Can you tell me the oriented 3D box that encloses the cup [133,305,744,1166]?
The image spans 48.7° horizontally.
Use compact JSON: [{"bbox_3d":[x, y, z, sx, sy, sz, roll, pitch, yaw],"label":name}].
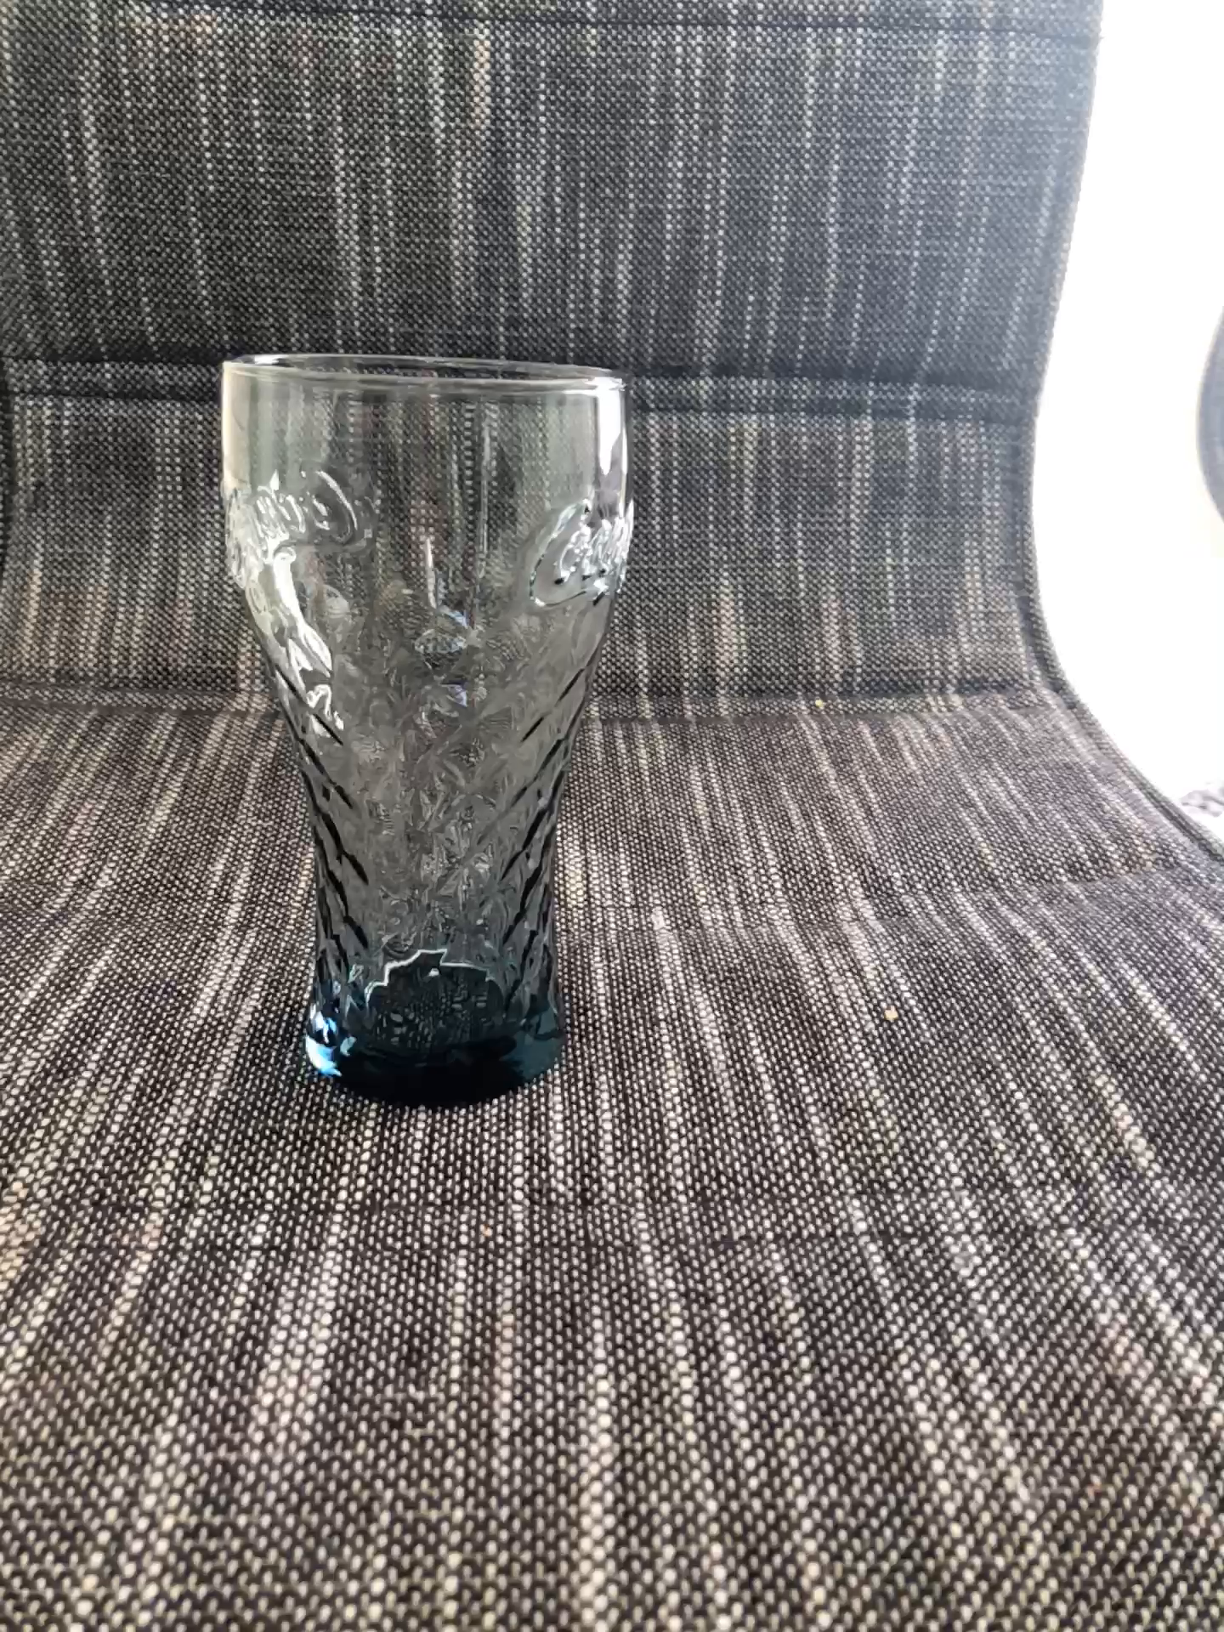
[{"bbox_3d":[-0.033,-0.023,0.269,0.080,0.139,0.080,4,18,-1],"label":"cup"}]
